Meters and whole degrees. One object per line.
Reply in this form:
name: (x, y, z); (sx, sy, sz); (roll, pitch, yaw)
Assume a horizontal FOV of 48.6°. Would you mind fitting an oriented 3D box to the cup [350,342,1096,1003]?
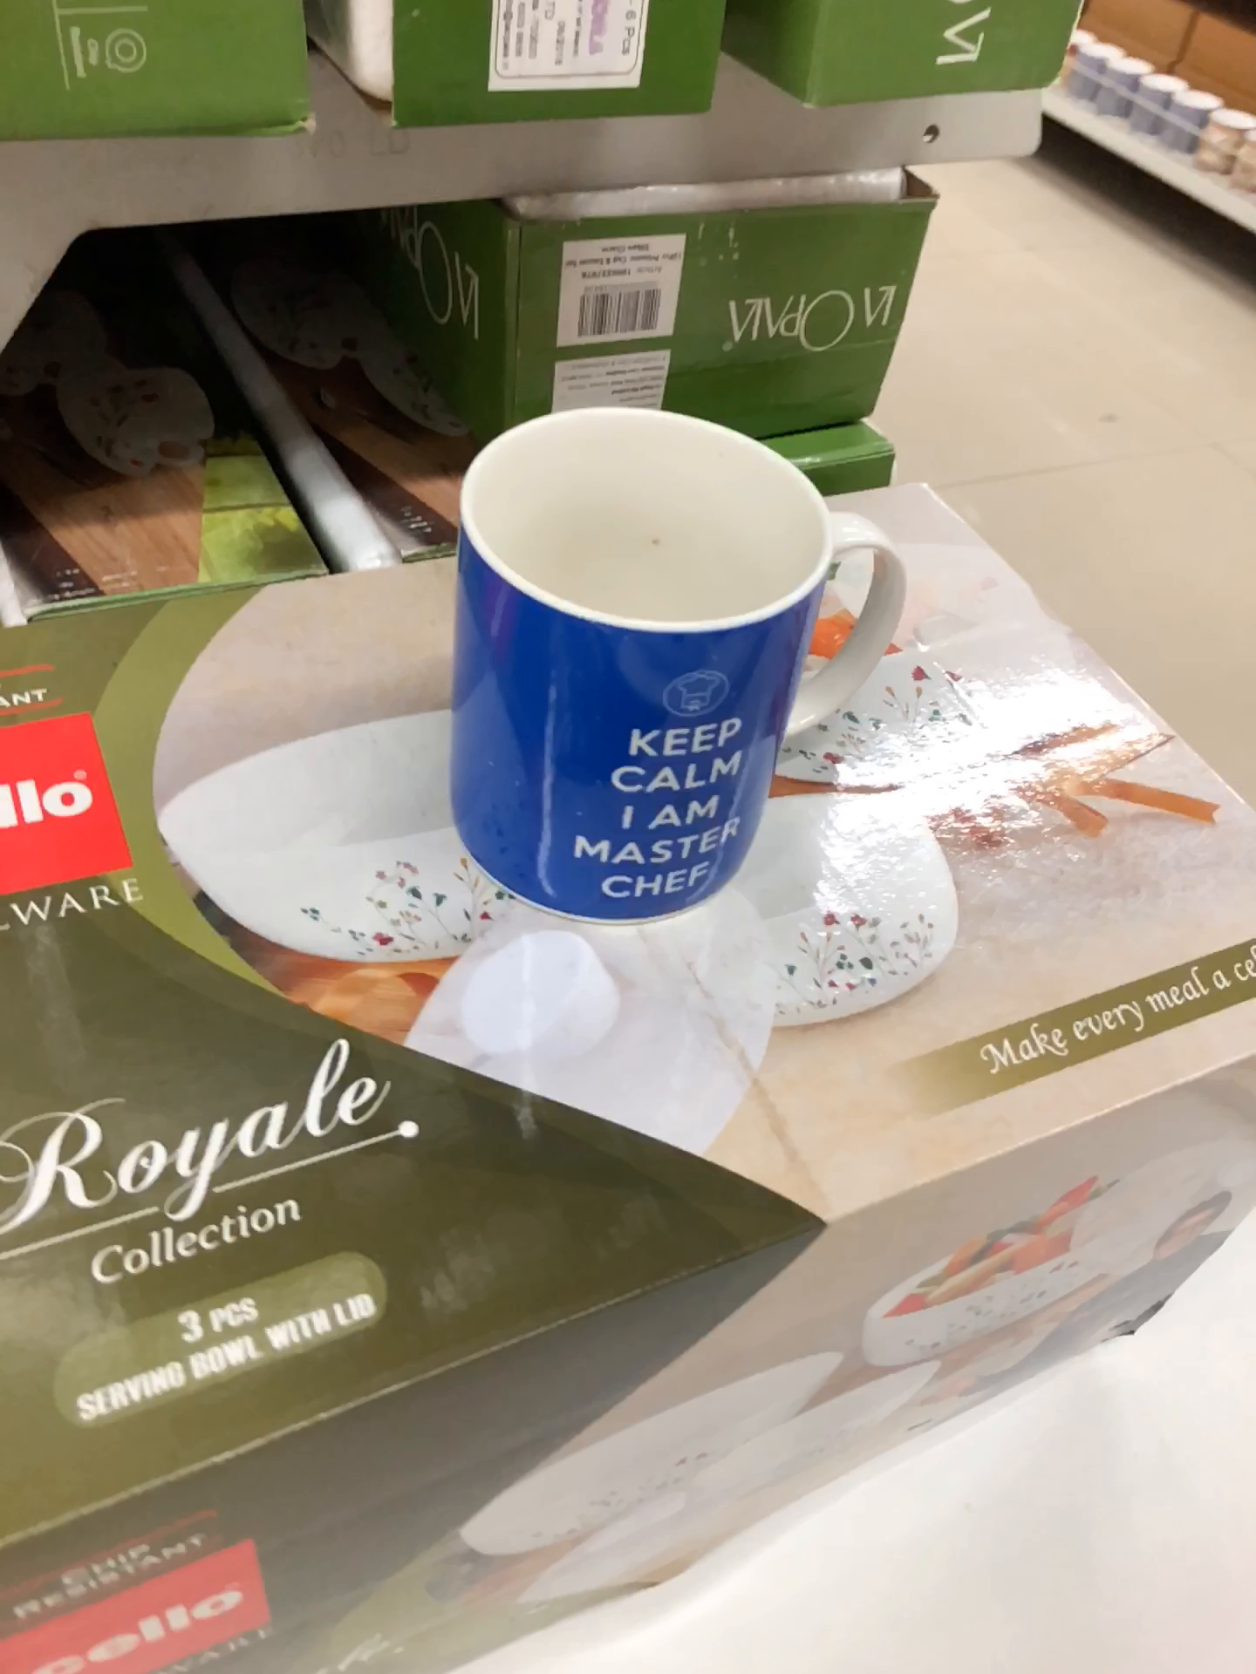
cup: (0.014, -0.048, 0.357); (0.141, 0.099, 0.110); (-14, 49, -22)
